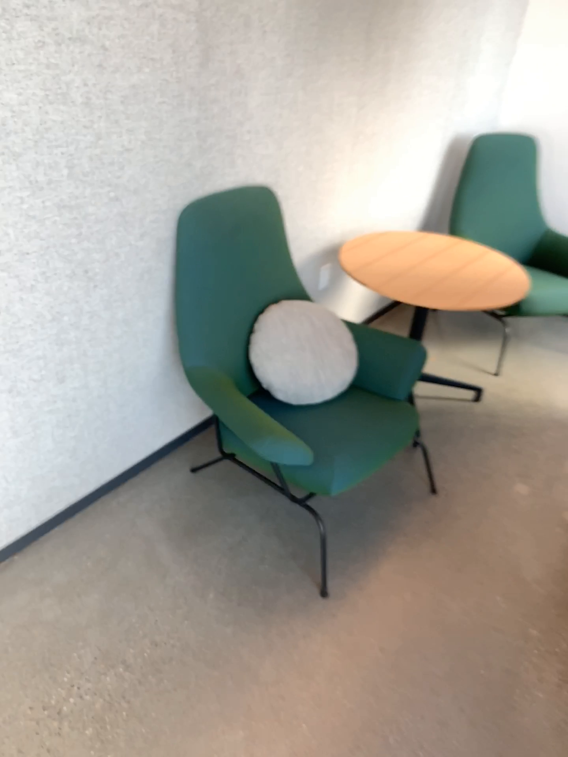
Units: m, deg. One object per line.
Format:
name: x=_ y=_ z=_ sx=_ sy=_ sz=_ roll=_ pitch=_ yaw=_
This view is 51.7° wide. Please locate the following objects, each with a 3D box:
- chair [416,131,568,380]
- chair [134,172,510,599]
chair: x=1.252 y=-0.660 z=3.034 sx=0.650 sy=1.014 sz=0.754 roll=-7 pitch=34 yaw=-18
chair: x=0.082 y=-0.045 z=1.990 sx=0.843 sy=0.994 sz=0.722 roll=29 pitch=40 yaw=33
